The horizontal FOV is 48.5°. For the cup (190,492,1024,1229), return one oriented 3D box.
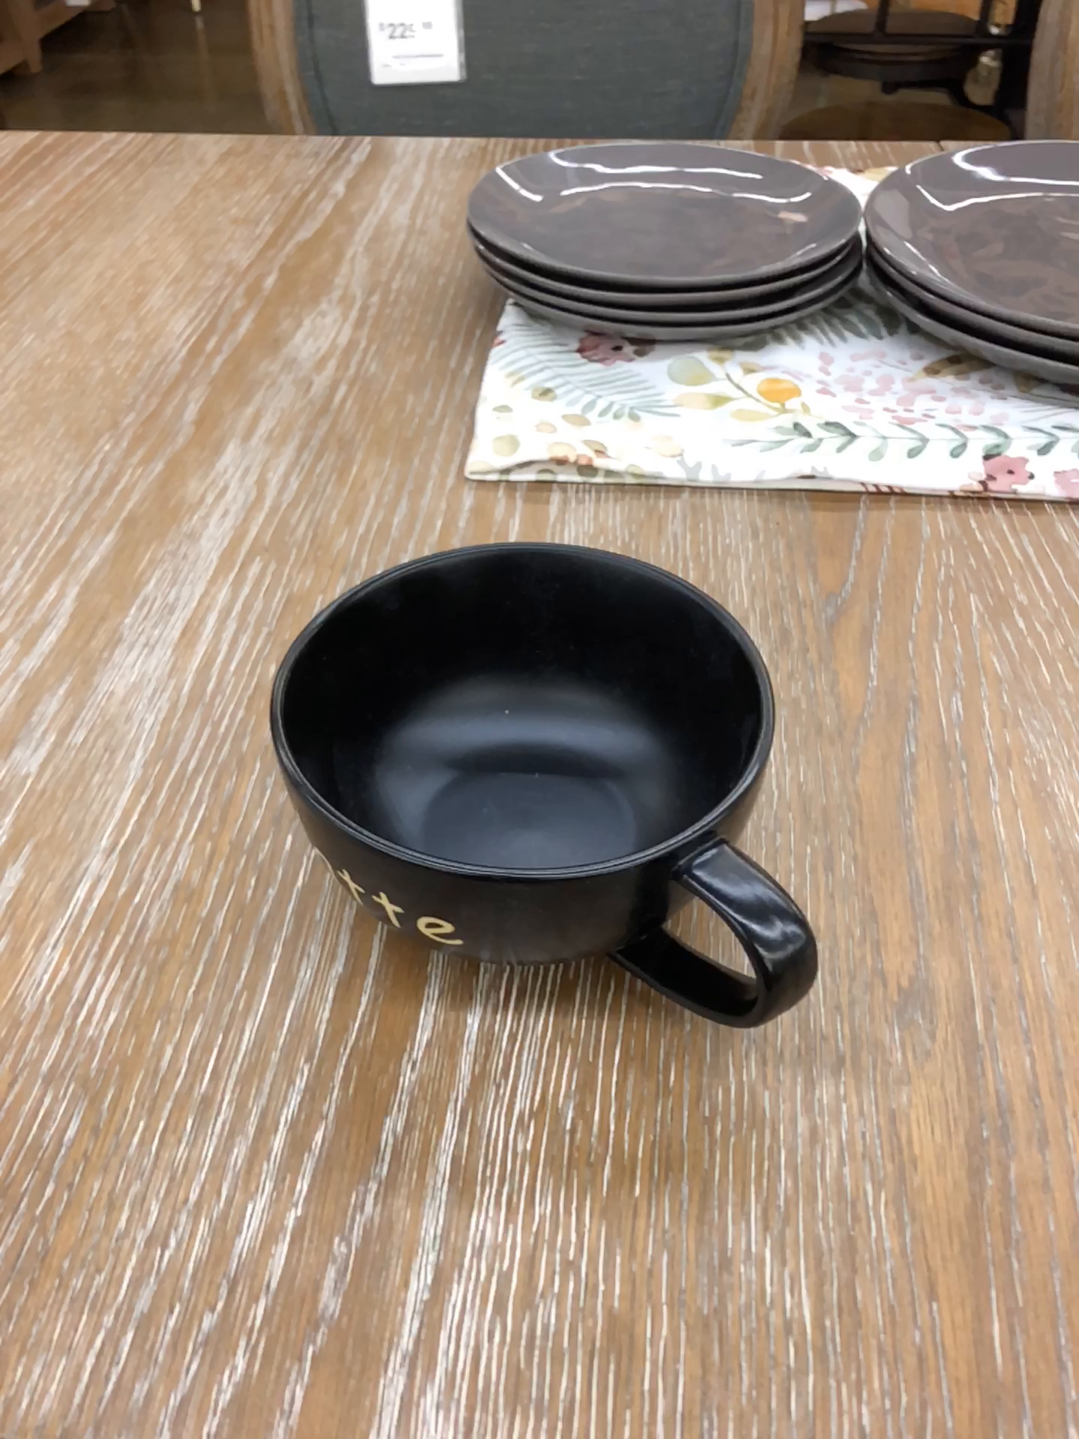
[{"bbox_3d":[0.011,0.019,0.331,0.137,0.054,0.175,-28,48,-27],"label":"cup"}]
